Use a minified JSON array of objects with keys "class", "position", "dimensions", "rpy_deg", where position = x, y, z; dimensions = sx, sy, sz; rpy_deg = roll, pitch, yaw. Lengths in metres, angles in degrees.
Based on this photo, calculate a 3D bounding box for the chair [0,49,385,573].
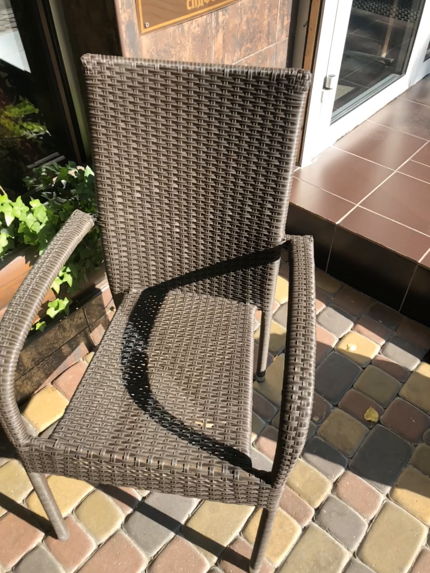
[{"class":"chair","position":[-0.077,0.097,1.050],"dimensions":[0.610,0.906,0.723],"rpy_deg":[7,46,7]}]
